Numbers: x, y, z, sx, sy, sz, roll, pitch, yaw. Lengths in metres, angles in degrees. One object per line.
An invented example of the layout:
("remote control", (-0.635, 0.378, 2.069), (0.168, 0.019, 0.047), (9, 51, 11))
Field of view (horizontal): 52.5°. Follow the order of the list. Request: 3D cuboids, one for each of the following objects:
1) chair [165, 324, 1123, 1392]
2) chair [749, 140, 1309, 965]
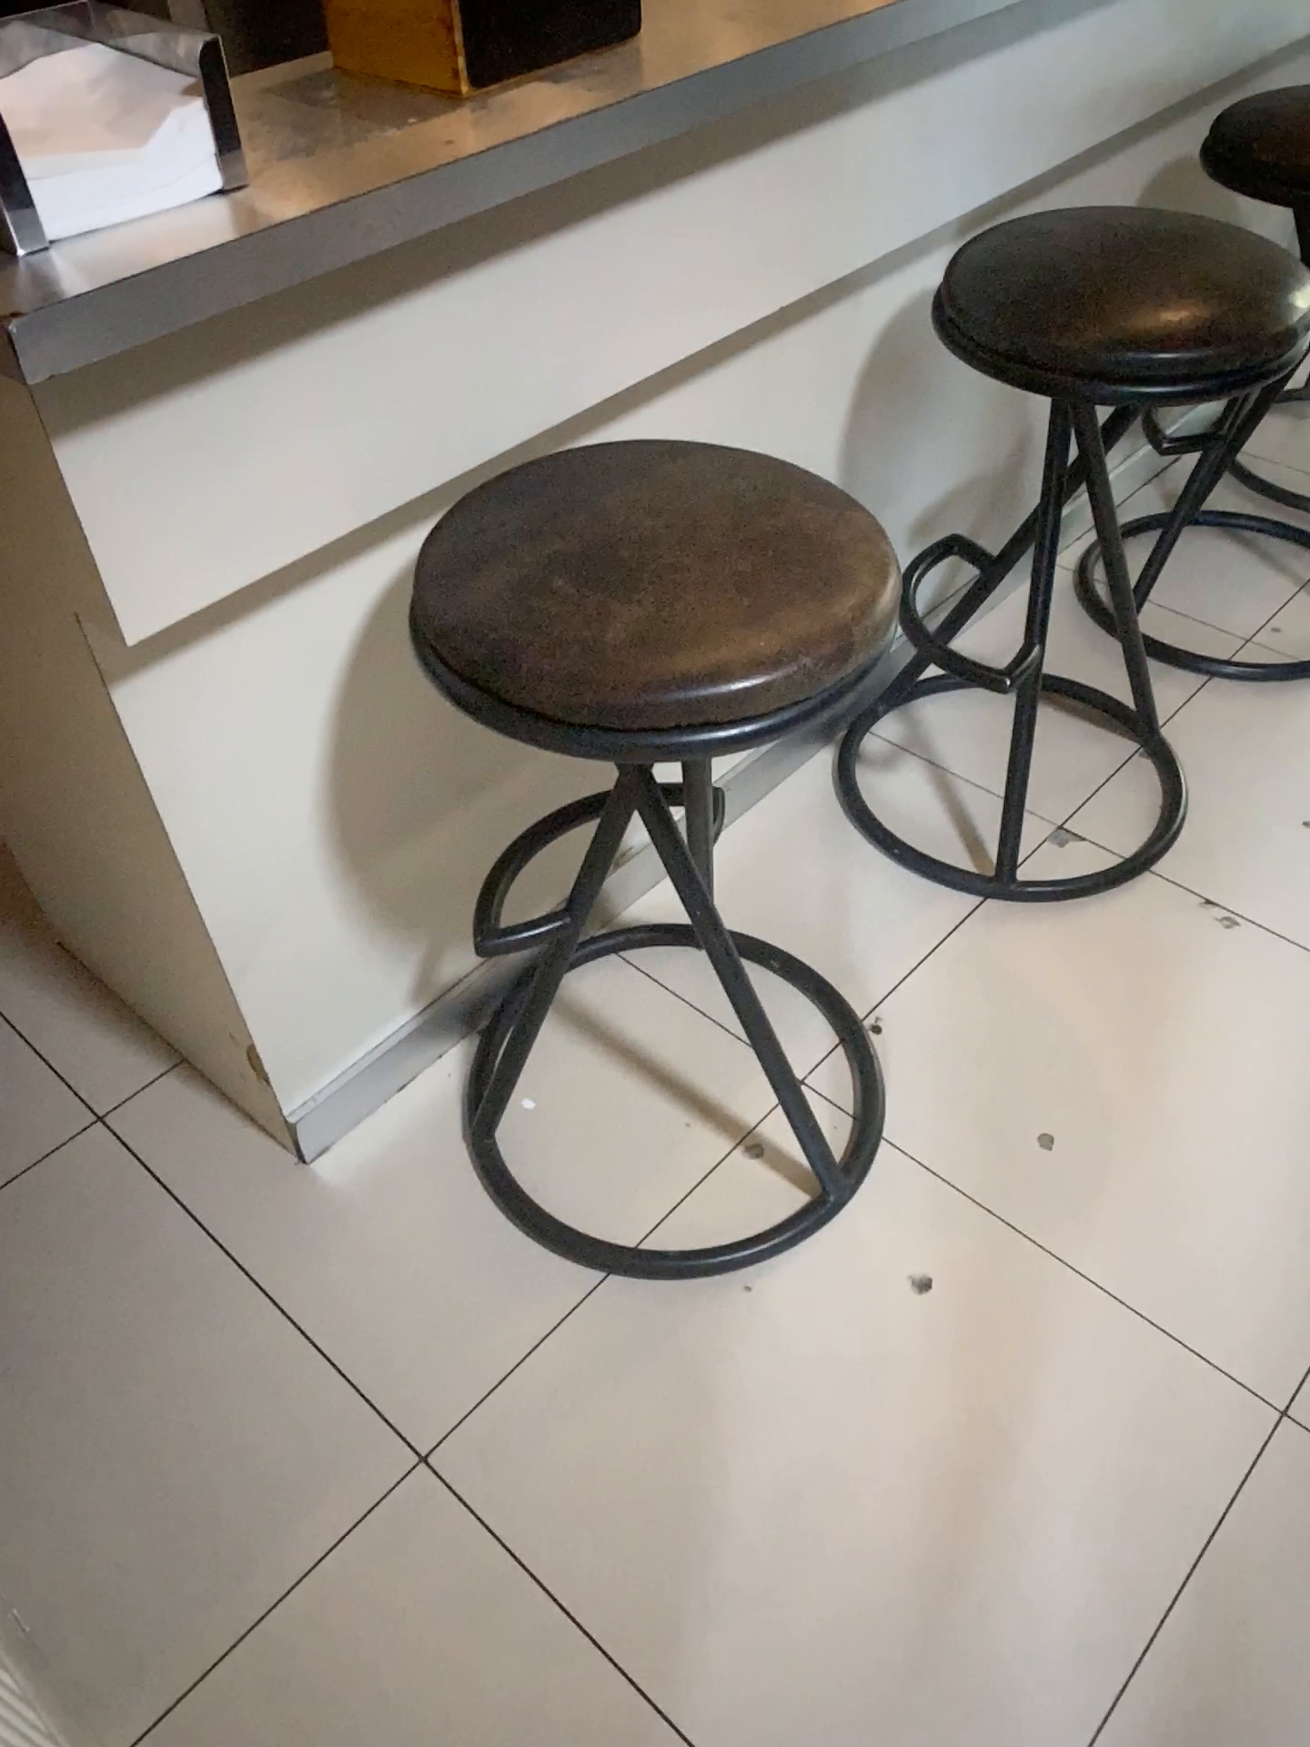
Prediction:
("chair", (0.006, -0.026, 1.324), (0.547, 0.727, 0.552), (31, 53, 30))
("chair", (0.502, -0.412, 1.683), (0.527, 0.727, 0.552), (31, 53, 29))
